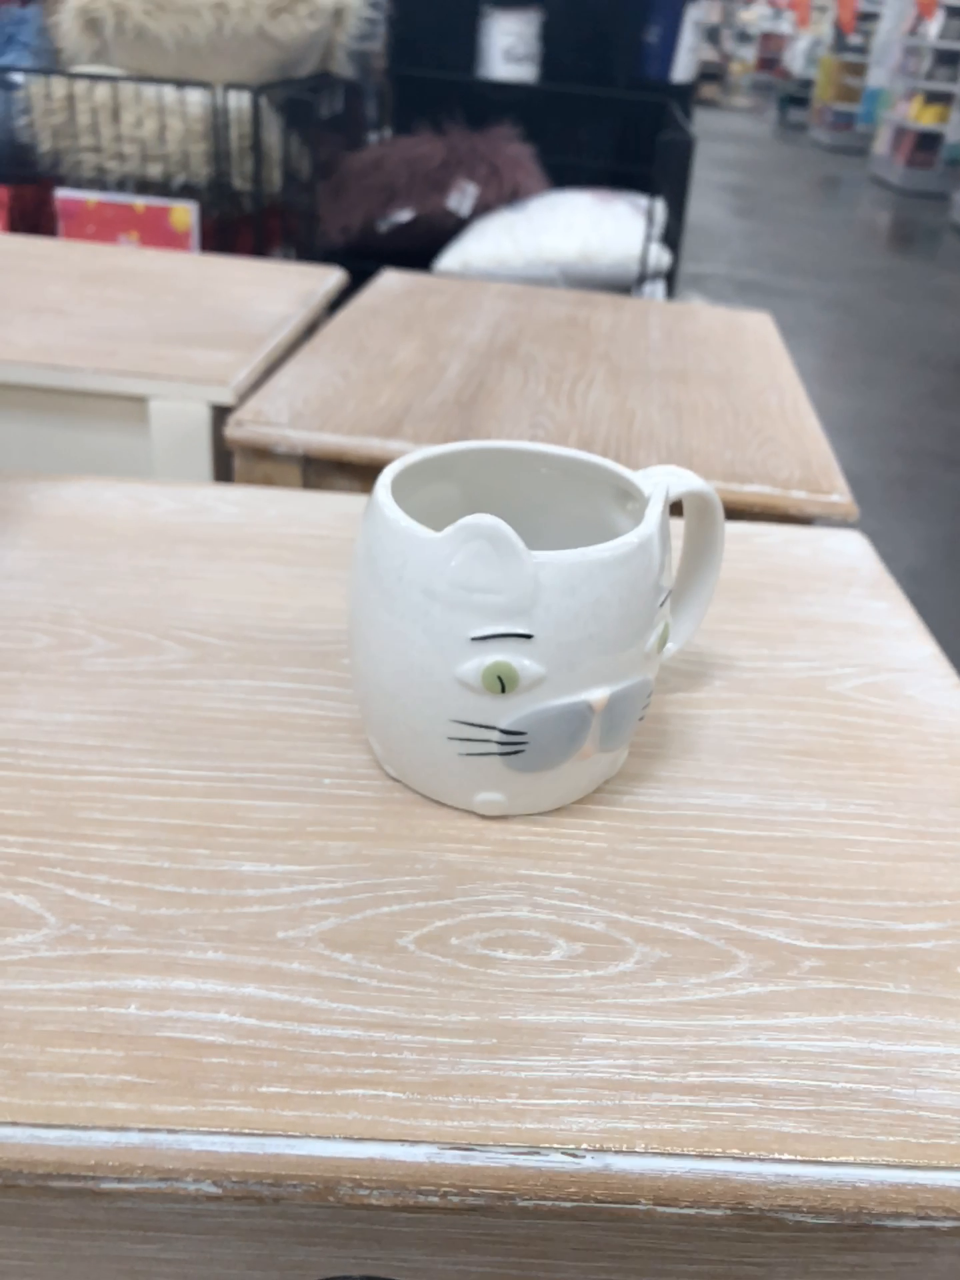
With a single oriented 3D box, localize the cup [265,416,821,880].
[{"bbox_3d":[0.014,-0.007,0.318,0.125,0.073,0.092,-15,41,-32],"label":"cup"}]
